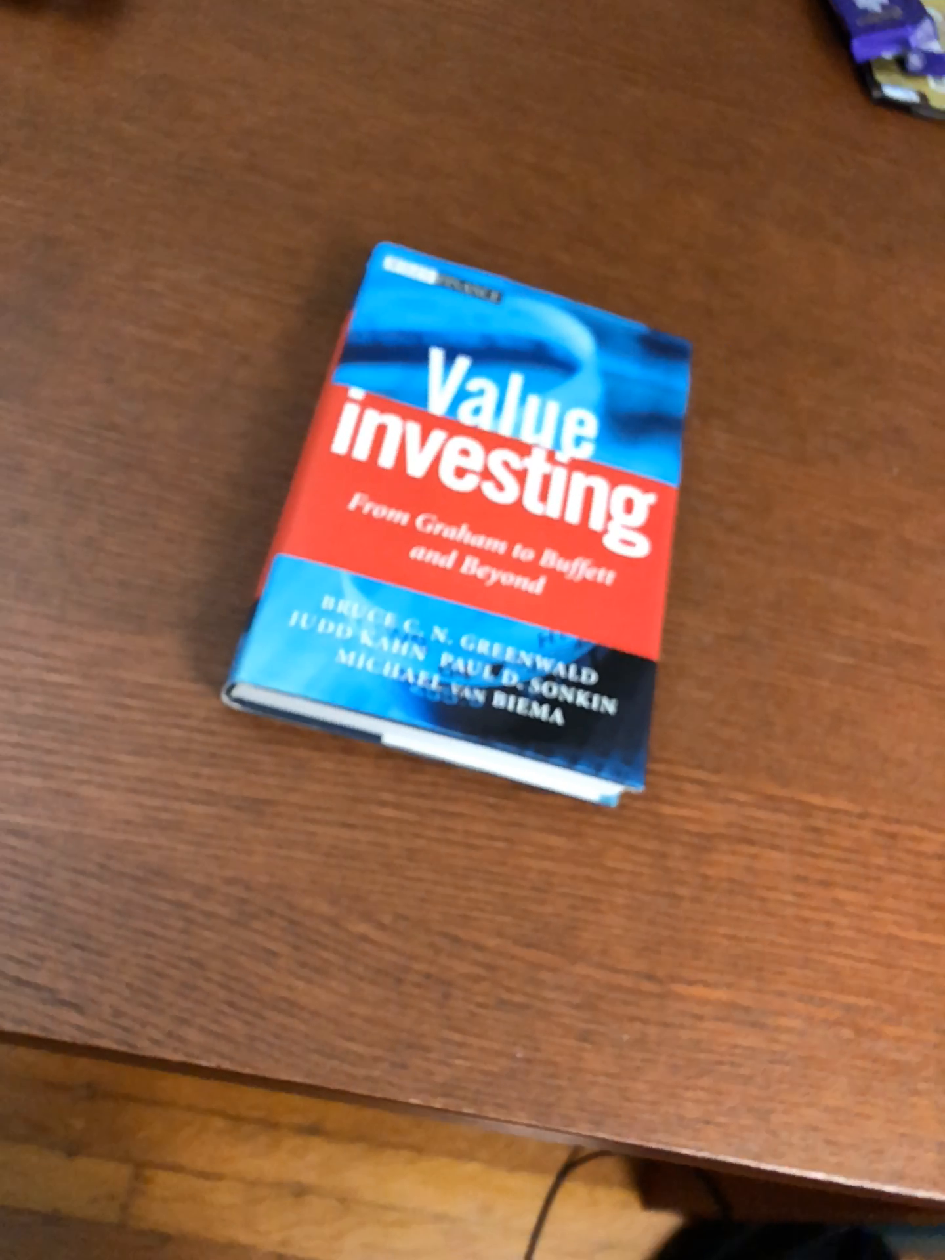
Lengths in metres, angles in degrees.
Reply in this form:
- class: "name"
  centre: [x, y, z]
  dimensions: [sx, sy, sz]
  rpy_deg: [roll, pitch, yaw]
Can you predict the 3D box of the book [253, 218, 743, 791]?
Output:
- class: "book"
  centre: [0.025, -0.064, 0.448]
  dimensions: [0.170, 0.020, 0.231]
  rpy_deg: [17, 59, -7]
